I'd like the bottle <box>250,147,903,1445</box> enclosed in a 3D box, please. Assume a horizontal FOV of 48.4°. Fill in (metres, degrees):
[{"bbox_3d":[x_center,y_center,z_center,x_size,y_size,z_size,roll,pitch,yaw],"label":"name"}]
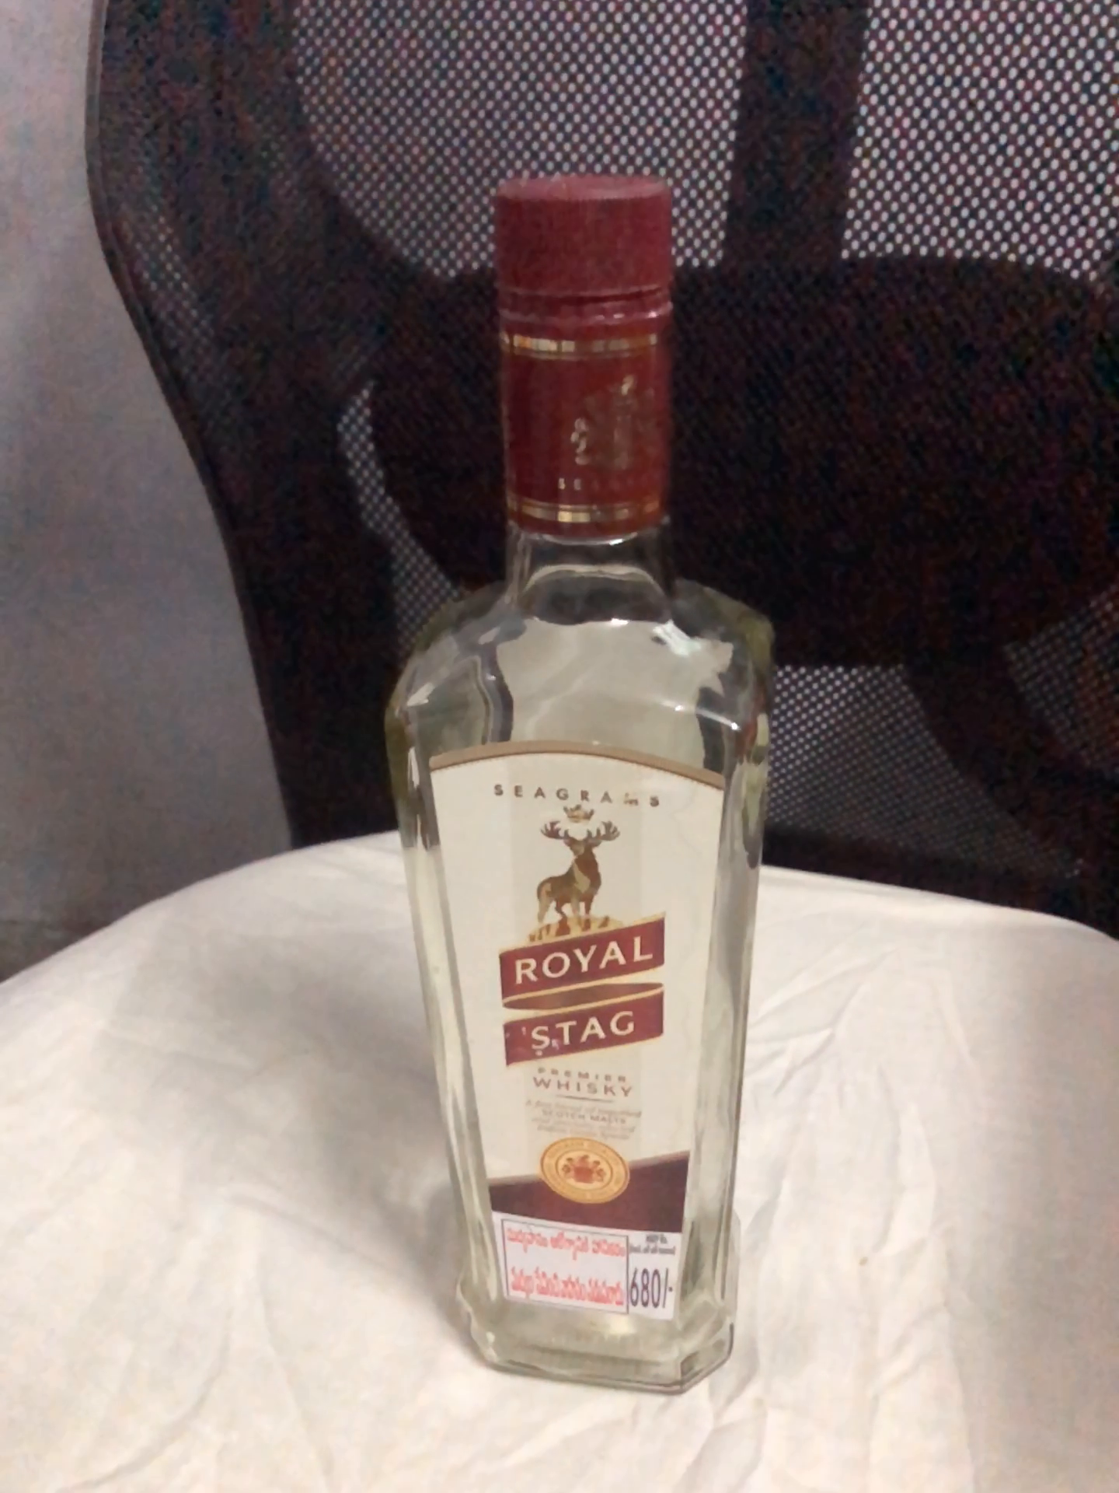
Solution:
[{"bbox_3d":[0.006,0.030,0.265,0.090,0.279,0.060,6,31,10],"label":"bottle"}]
